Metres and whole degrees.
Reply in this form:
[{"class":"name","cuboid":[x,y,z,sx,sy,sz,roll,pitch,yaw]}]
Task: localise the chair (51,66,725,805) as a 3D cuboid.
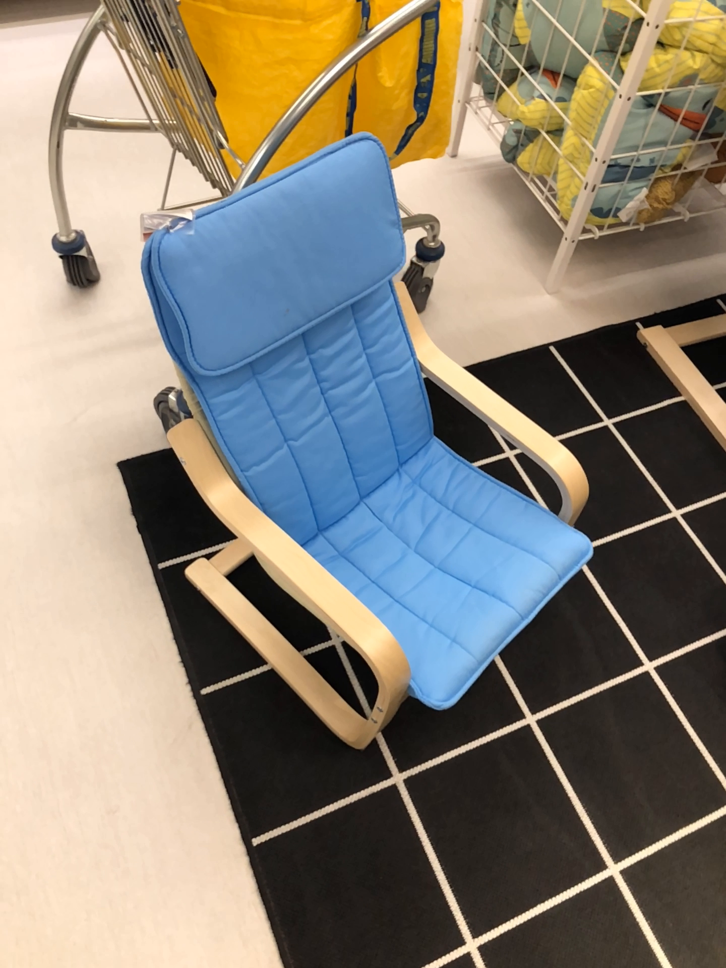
[{"class":"chair","cuboid":[-0.011,-0.010,1.221,0.492,0.875,0.561,-37,67,-28]}]
